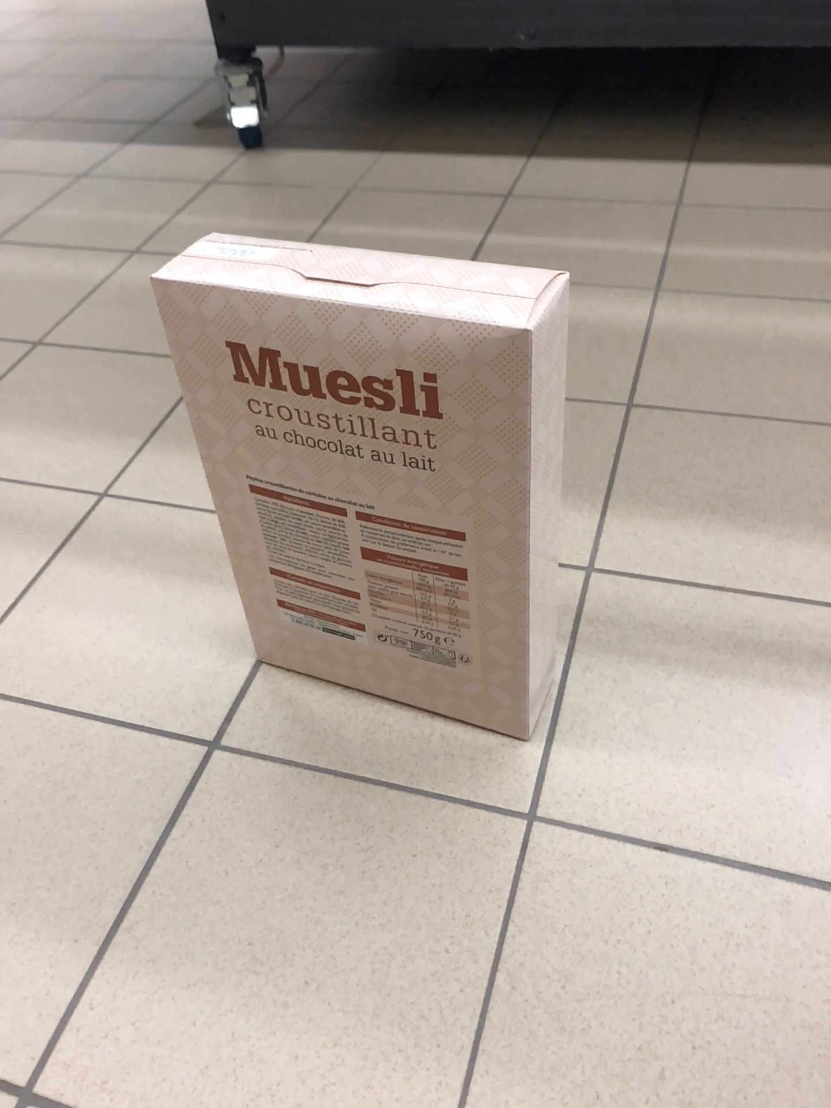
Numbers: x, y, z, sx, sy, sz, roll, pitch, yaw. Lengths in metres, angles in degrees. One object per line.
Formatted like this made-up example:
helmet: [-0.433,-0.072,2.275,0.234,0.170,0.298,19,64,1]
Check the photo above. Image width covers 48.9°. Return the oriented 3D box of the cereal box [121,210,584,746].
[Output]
cereal box: [-0.022,-0.031,0.492,0.200,0.268,0.060,13,44,20]
